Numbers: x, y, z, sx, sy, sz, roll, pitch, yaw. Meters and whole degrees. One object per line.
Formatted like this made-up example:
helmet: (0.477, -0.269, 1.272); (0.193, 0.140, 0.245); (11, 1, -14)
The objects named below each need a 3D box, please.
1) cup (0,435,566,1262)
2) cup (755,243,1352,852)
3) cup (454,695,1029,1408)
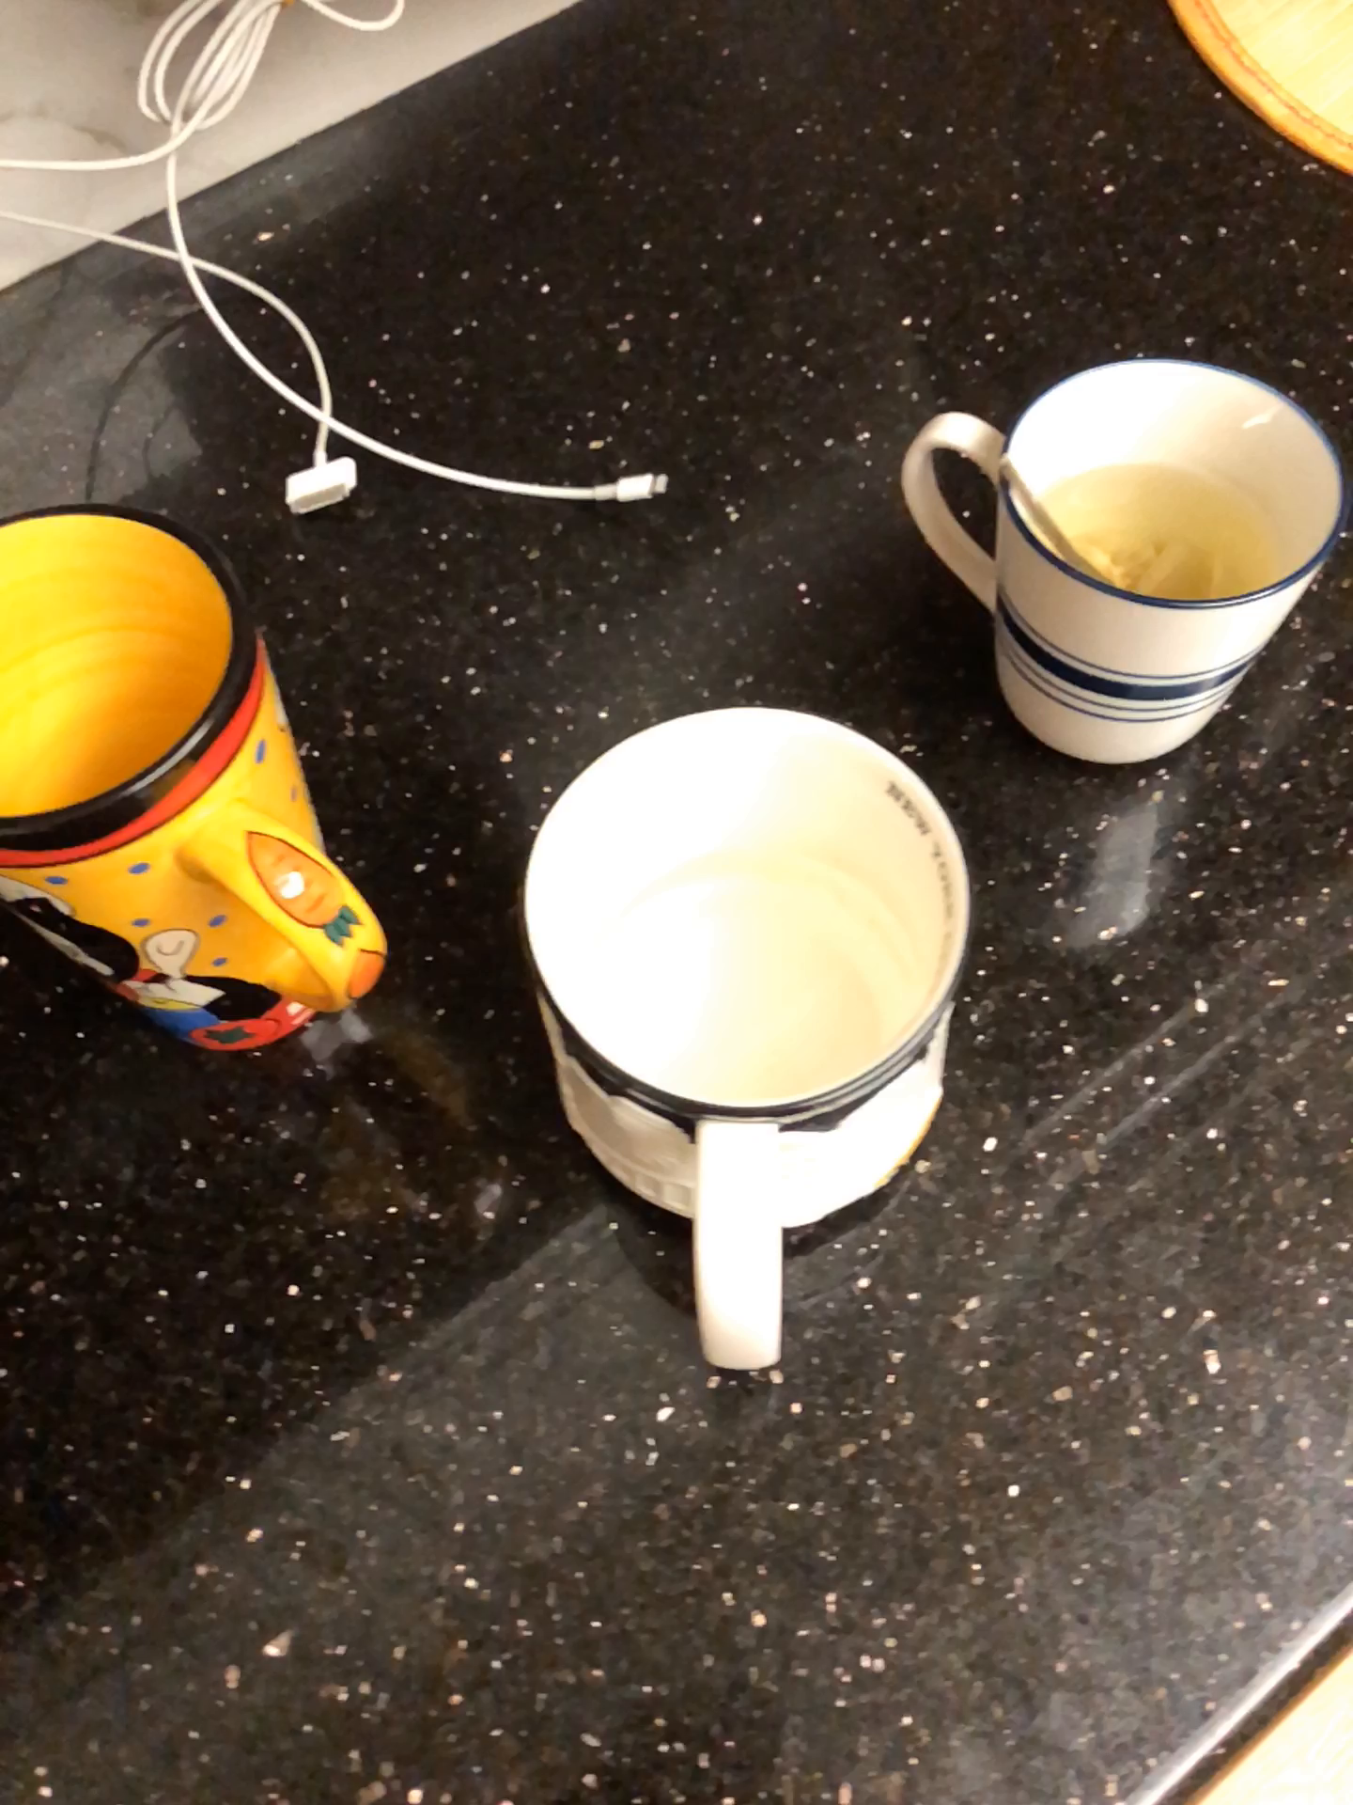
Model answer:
cup: (-0.117, -0.008, 0.358); (0.140, 0.130, 0.090); (31, 67, 19)
cup: (0.101, -0.097, 0.409); (0.130, 0.090, 0.090); (24, 65, 16)
cup: (0.012, 0.037, 0.359); (0.110, 0.090, 0.140); (-4, 61, 2)
